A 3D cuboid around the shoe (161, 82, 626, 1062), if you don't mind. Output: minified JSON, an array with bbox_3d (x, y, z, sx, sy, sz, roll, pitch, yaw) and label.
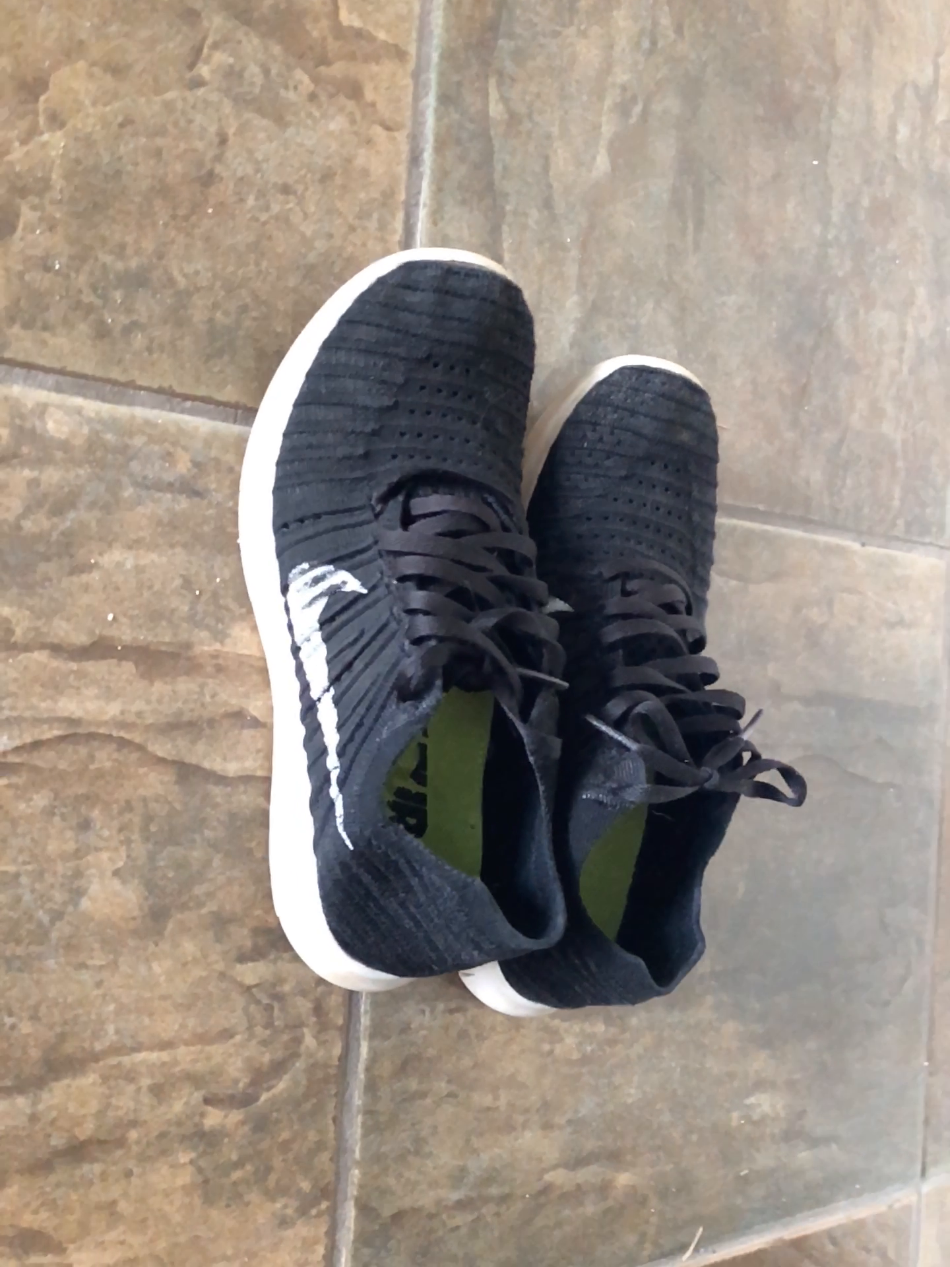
[{"bbox_3d":[-0.028,-0.015,0.339,0.100,0.090,0.260,6,87,-31],"label":"shoe"}]

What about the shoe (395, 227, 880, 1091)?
[{"bbox_3d":[0.058,0.012,0.373,0.100,0.090,0.260,13,84,-30],"label":"shoe"}]
